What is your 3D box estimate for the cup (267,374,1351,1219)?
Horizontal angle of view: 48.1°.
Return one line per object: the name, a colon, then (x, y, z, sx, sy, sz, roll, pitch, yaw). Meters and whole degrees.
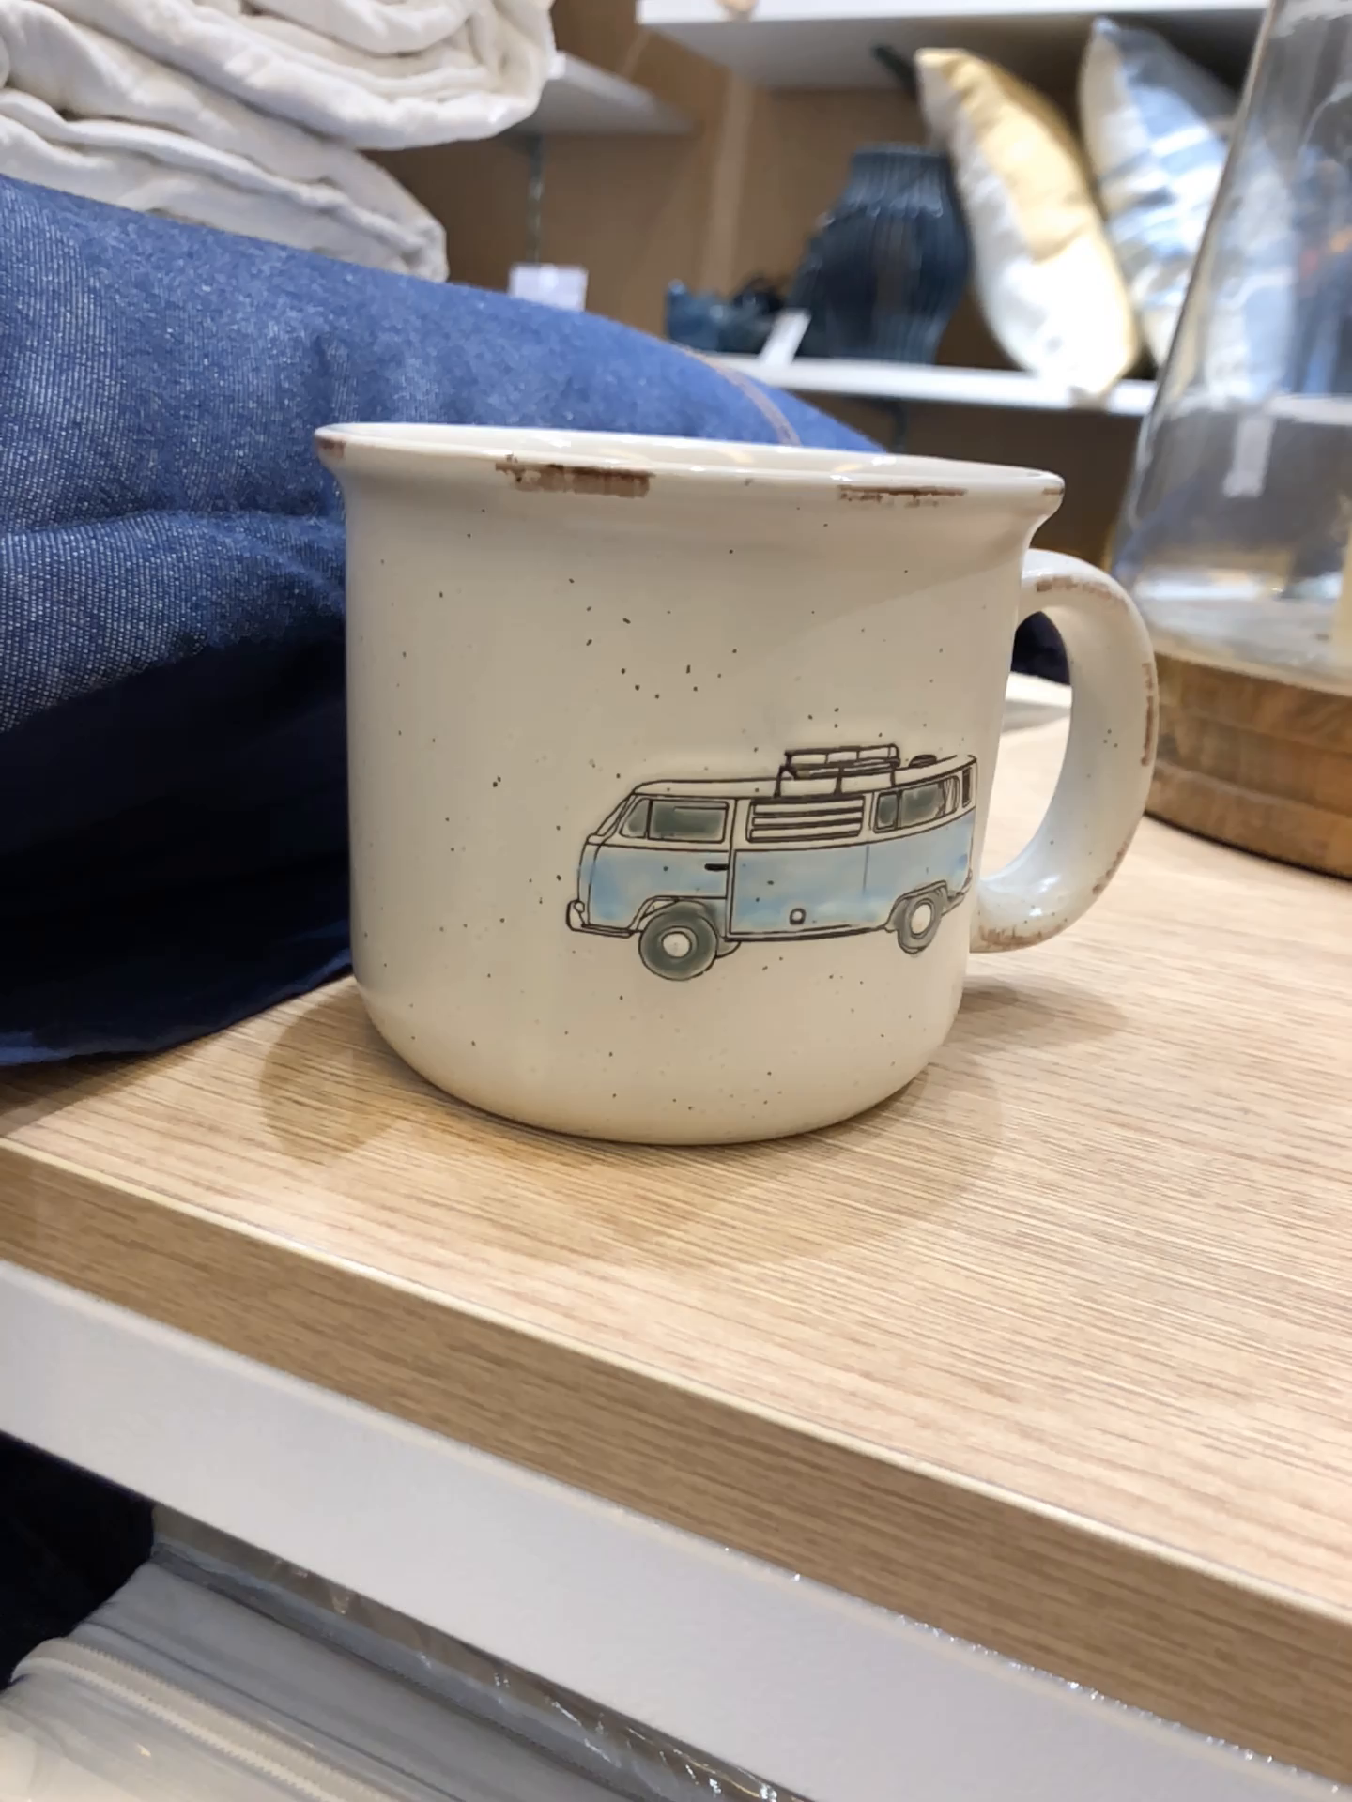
cup: (0.018, -0.027, 0.229, 0.140, 0.089, 0.100, -4, 20, -23)
